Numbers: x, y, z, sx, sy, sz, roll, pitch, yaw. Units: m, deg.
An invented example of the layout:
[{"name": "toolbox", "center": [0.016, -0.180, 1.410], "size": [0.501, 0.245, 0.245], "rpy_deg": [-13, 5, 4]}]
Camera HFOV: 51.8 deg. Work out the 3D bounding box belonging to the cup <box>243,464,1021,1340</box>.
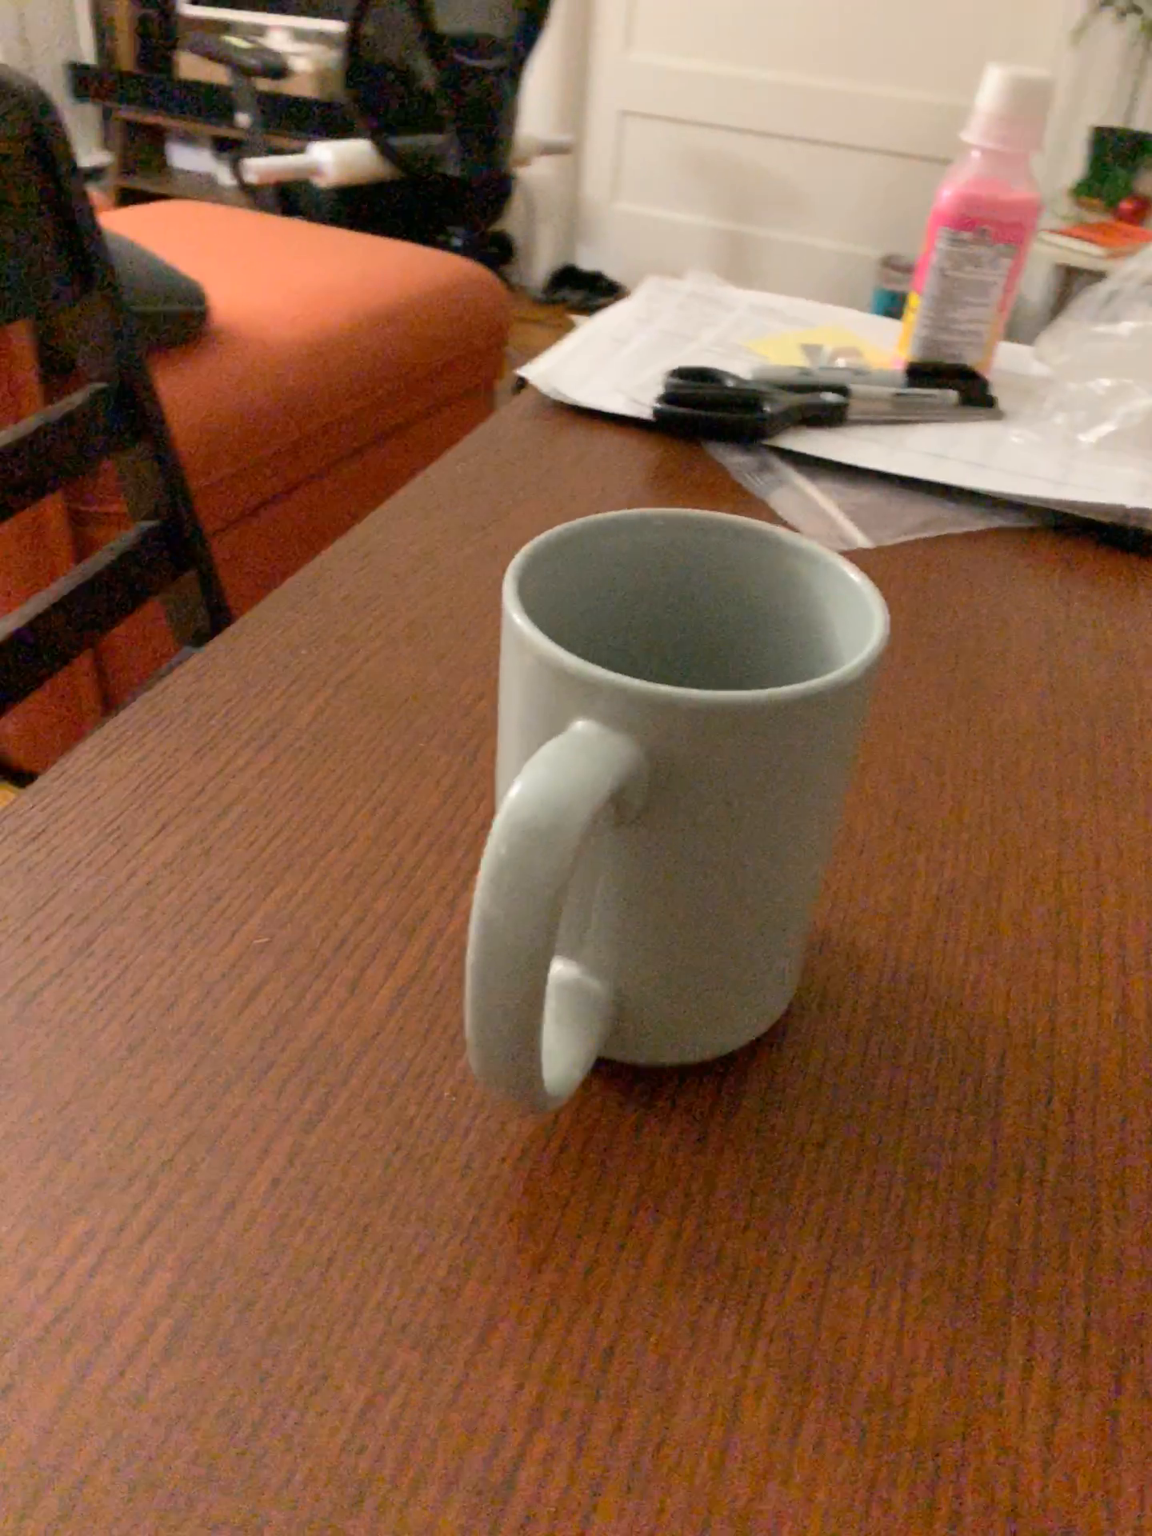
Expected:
[{"name": "cup", "center": [0.017, 0.017, 0.271], "size": [0.100, 0.109, 0.141], "rpy_deg": [24, 41, 23]}]
